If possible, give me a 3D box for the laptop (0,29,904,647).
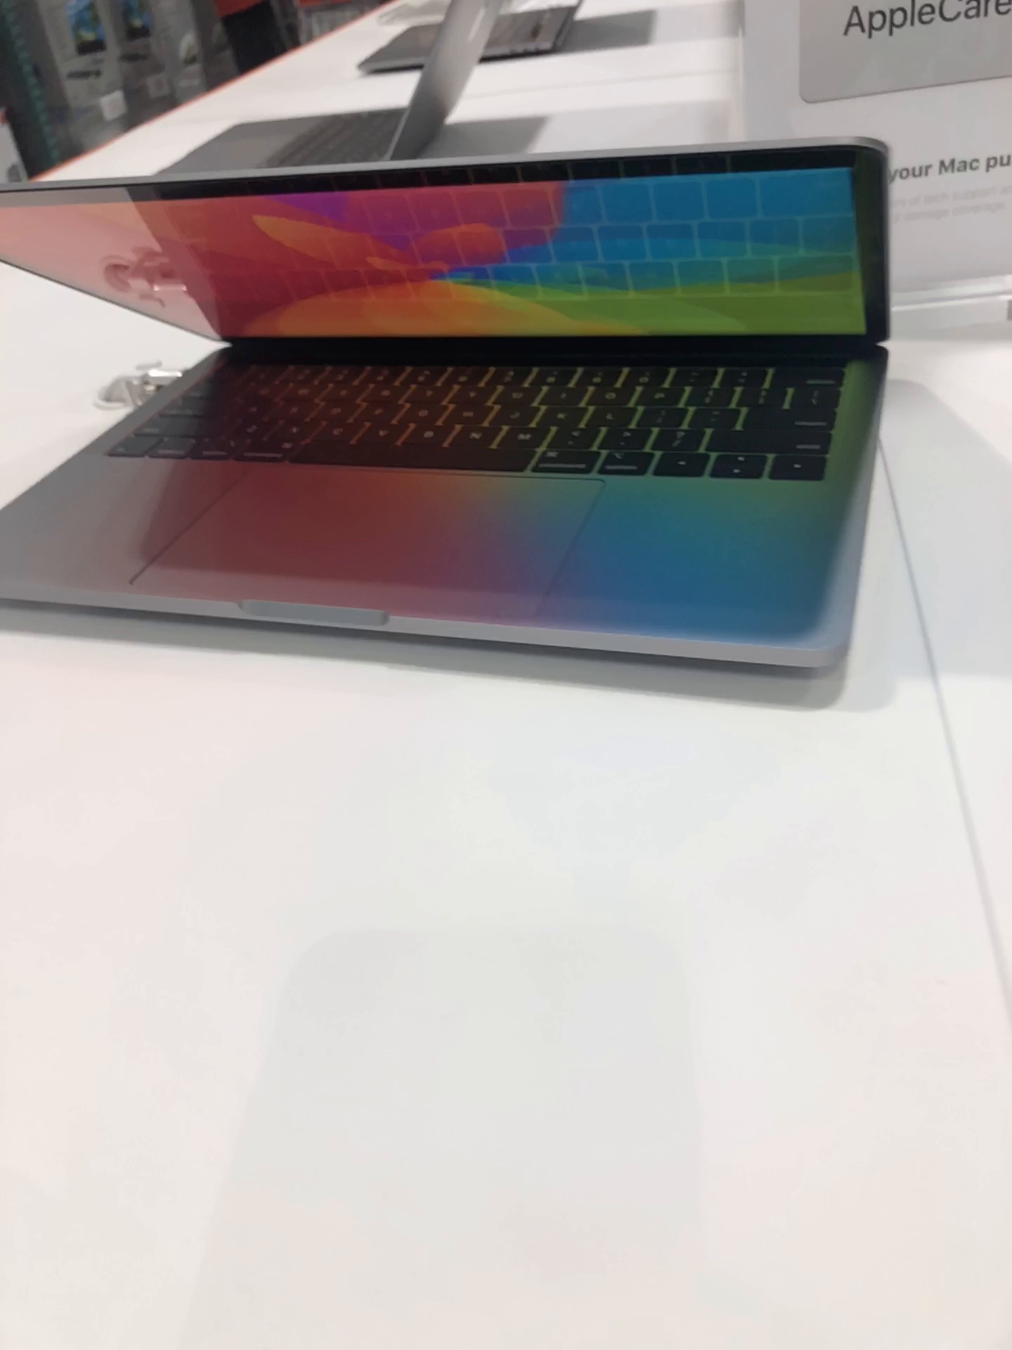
[{"bbox_3d":[-0.032,-0.126,0.376,0.297,0.109,0.211,5,37,18],"label":"laptop"}]
